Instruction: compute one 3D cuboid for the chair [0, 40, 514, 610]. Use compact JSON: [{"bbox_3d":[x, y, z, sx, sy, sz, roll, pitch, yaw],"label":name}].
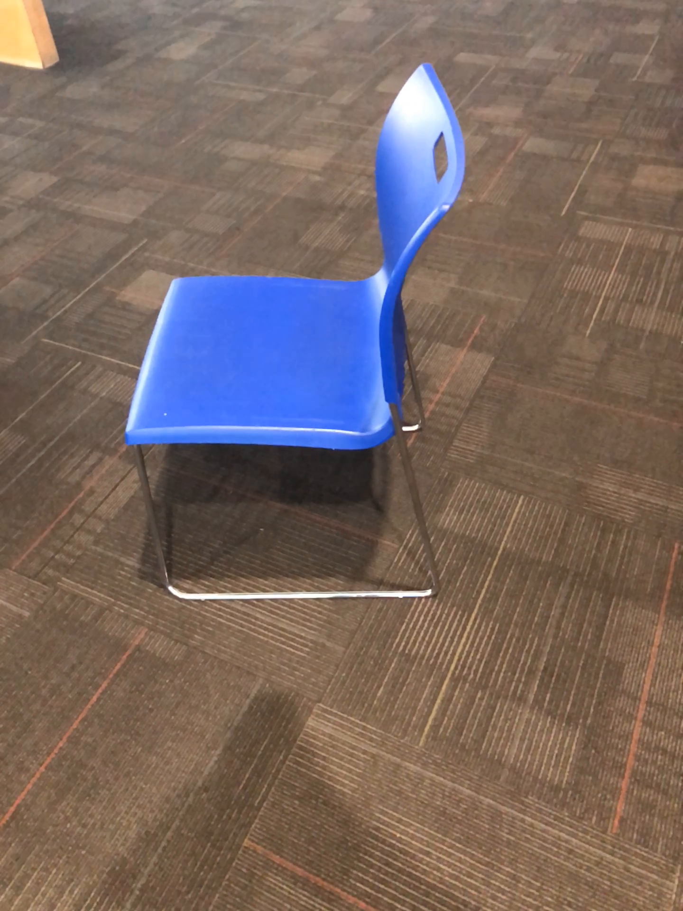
[{"bbox_3d":[-0.083,-0.198,1.306,0.590,0.757,0.583,-2,45,3],"label":"chair"}]
